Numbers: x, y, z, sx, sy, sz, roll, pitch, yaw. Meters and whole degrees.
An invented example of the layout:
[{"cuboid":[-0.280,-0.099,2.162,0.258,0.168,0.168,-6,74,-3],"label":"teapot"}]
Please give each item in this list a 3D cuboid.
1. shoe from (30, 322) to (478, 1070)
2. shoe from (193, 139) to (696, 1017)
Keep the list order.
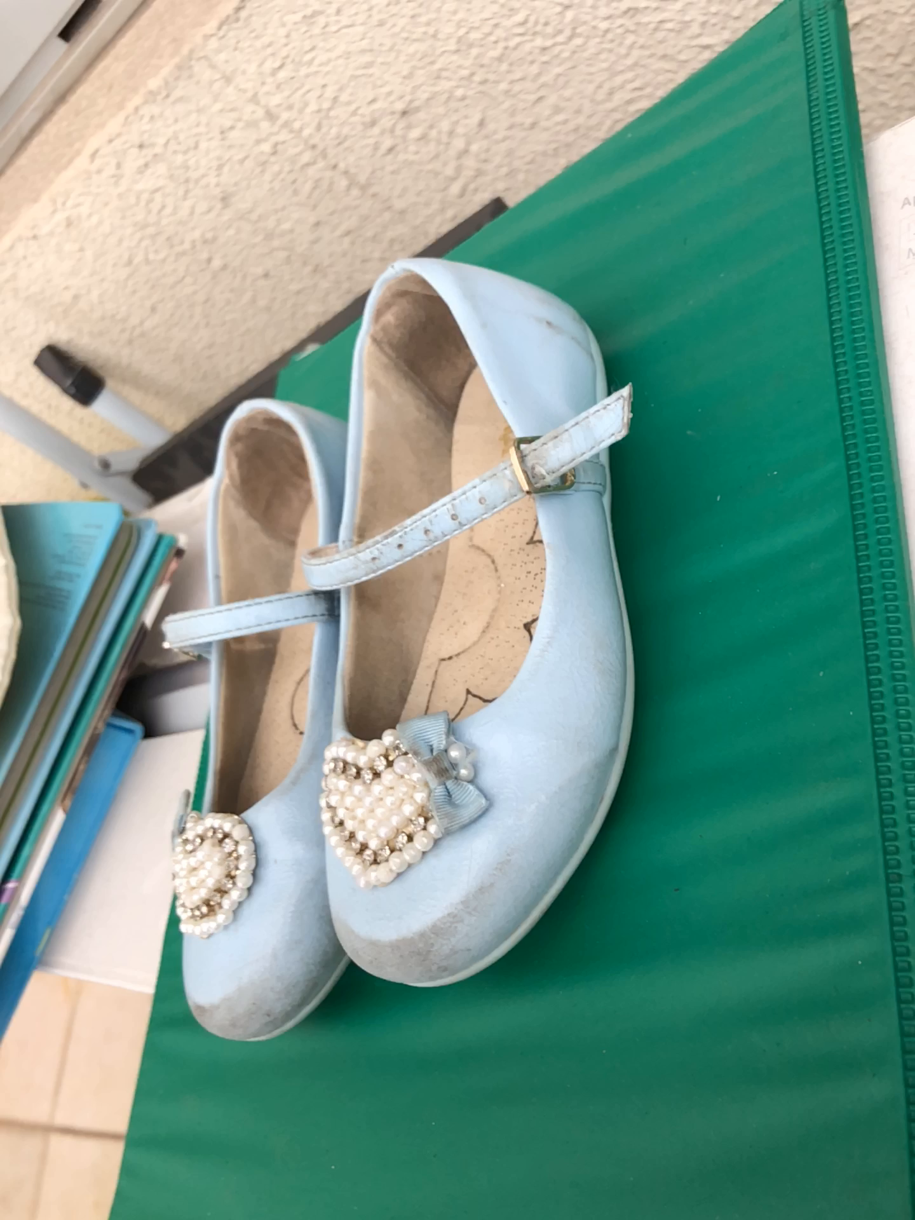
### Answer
[{"cuboid":[-0.048,0.023,0.266,0.087,0.050,0.170,-19,57,40],"label":"shoe"},{"cuboid":[0.000,-0.005,0.223,0.080,0.050,0.170,-19,57,40],"label":"shoe"}]
